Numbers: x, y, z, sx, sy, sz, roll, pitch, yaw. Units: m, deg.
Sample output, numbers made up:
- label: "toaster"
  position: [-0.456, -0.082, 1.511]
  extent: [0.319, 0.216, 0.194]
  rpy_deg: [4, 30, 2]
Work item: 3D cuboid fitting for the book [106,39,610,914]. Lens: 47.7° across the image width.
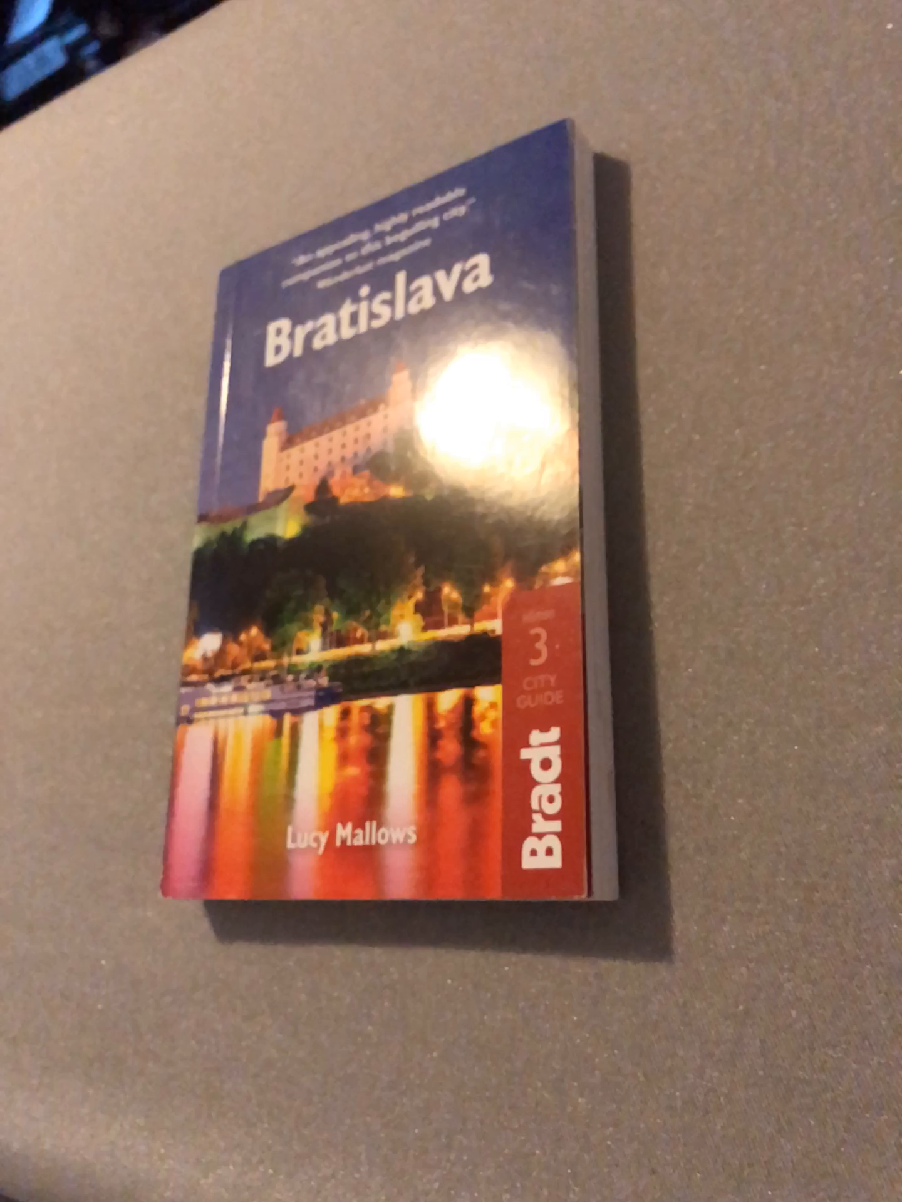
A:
- label: "book"
  position: [-0.028, -0.028, 0.273]
  extent: [0.140, 0.020, 0.210]
  rpy_deg: [-11, 69, 34]
